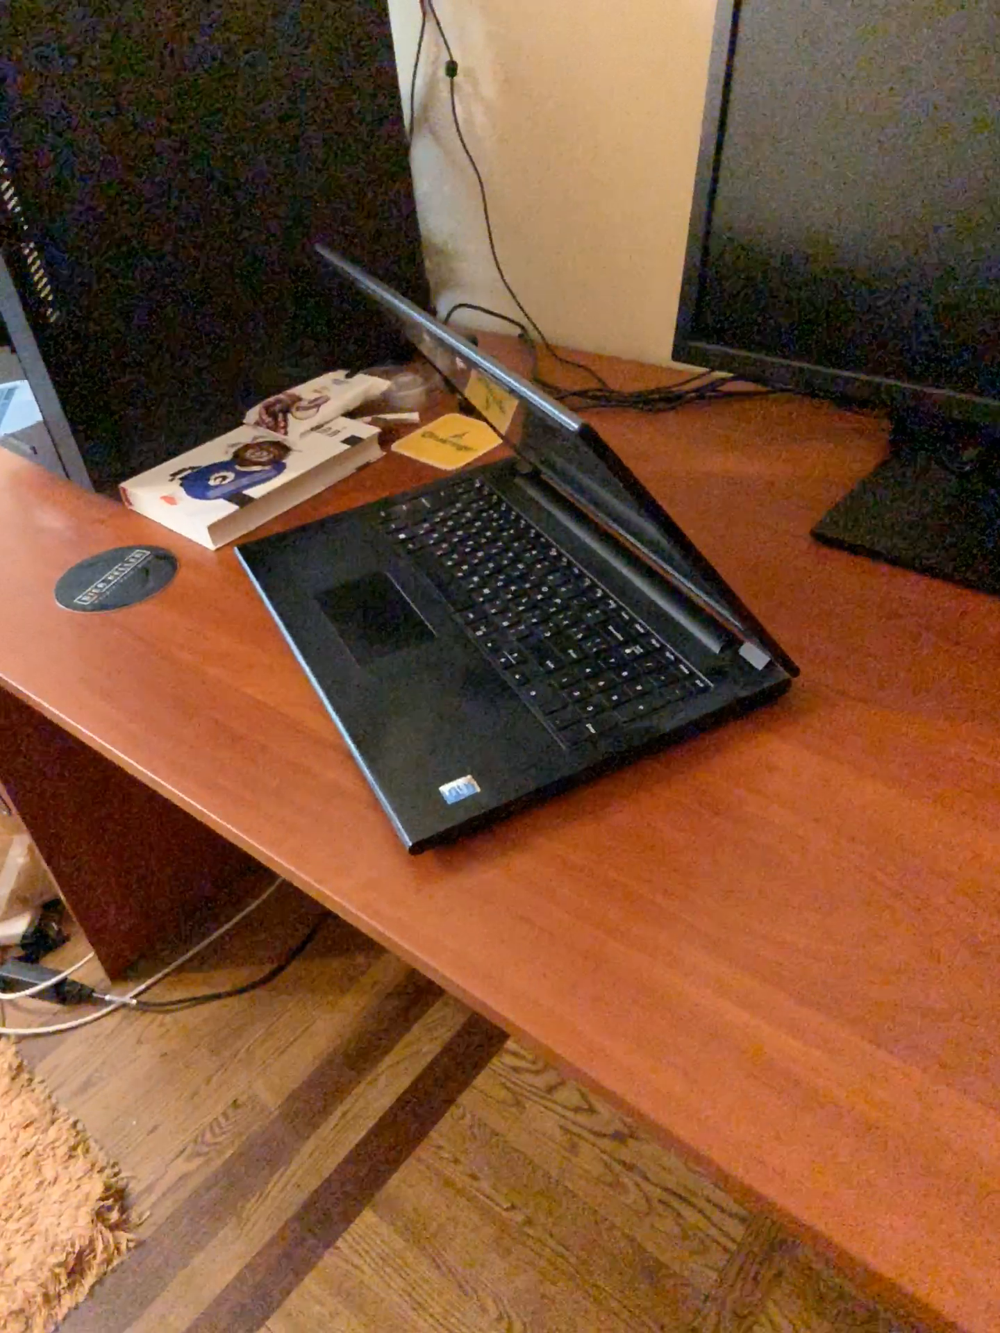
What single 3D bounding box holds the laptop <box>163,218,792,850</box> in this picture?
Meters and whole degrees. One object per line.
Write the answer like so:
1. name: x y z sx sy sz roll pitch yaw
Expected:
1. laptop: -0.035 -0.122 0.676 0.245 0.202 0.376 -23 41 -17
